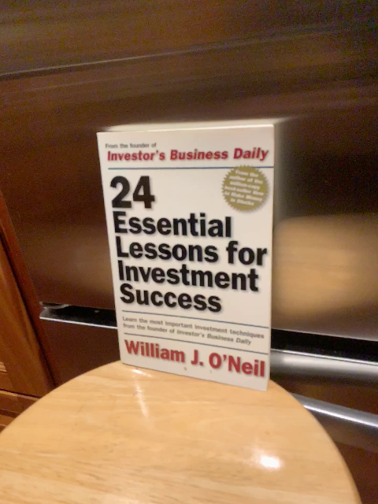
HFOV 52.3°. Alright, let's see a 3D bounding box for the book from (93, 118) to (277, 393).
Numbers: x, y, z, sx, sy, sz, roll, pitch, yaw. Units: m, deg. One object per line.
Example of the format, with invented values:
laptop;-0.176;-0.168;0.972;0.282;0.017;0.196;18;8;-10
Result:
book;-0.001;0.005;0.346;0.150;0.229;0.030;4;18;22
